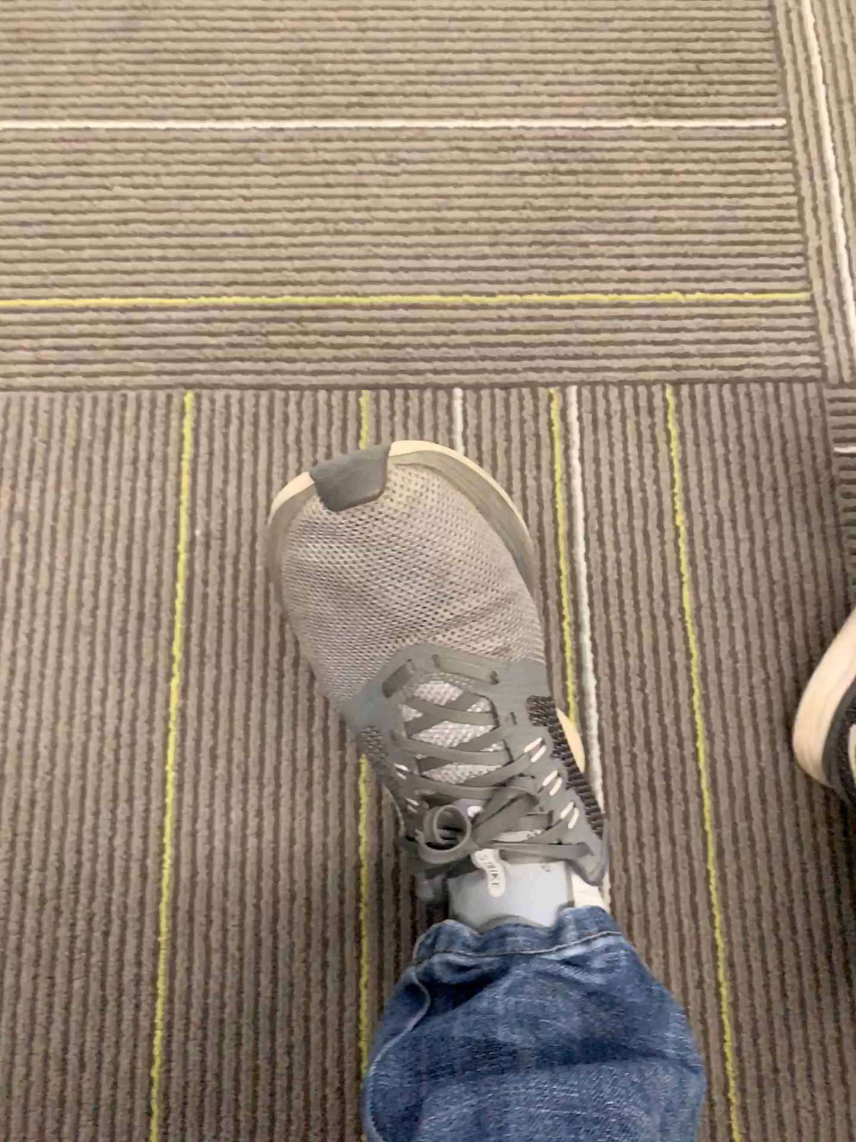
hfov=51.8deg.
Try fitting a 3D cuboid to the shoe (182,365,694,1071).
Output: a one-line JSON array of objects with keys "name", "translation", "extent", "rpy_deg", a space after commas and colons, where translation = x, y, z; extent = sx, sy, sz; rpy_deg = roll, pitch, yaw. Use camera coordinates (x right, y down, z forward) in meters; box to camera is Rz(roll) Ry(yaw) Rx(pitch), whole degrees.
[{"name": "shoe", "translation": [0.020, 0.086, 0.375], "extent": [0.119, 0.294, 0.122], "rpy_deg": [-20, 43, 2]}]

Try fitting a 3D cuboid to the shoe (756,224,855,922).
[{"name": "shoe", "translation": [0.266, 0.004, 0.408], "extent": [0.119, 0.122, 0.294], "rpy_deg": [2, 113, -5]}]
